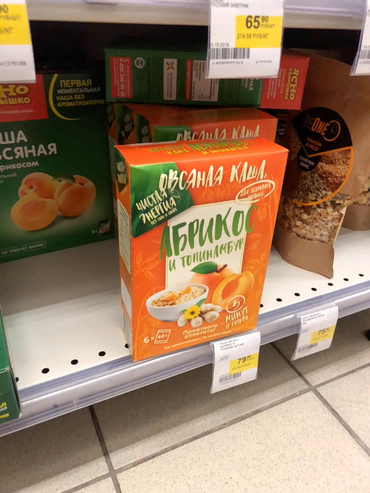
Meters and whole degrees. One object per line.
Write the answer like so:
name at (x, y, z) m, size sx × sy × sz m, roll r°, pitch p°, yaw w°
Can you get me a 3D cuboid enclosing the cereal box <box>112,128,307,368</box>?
cereal box at (0.016, 0.003, 0.357) m, size 0.140 × 0.189 × 0.050 m, roll -10°, pitch 33°, yaw -20°
